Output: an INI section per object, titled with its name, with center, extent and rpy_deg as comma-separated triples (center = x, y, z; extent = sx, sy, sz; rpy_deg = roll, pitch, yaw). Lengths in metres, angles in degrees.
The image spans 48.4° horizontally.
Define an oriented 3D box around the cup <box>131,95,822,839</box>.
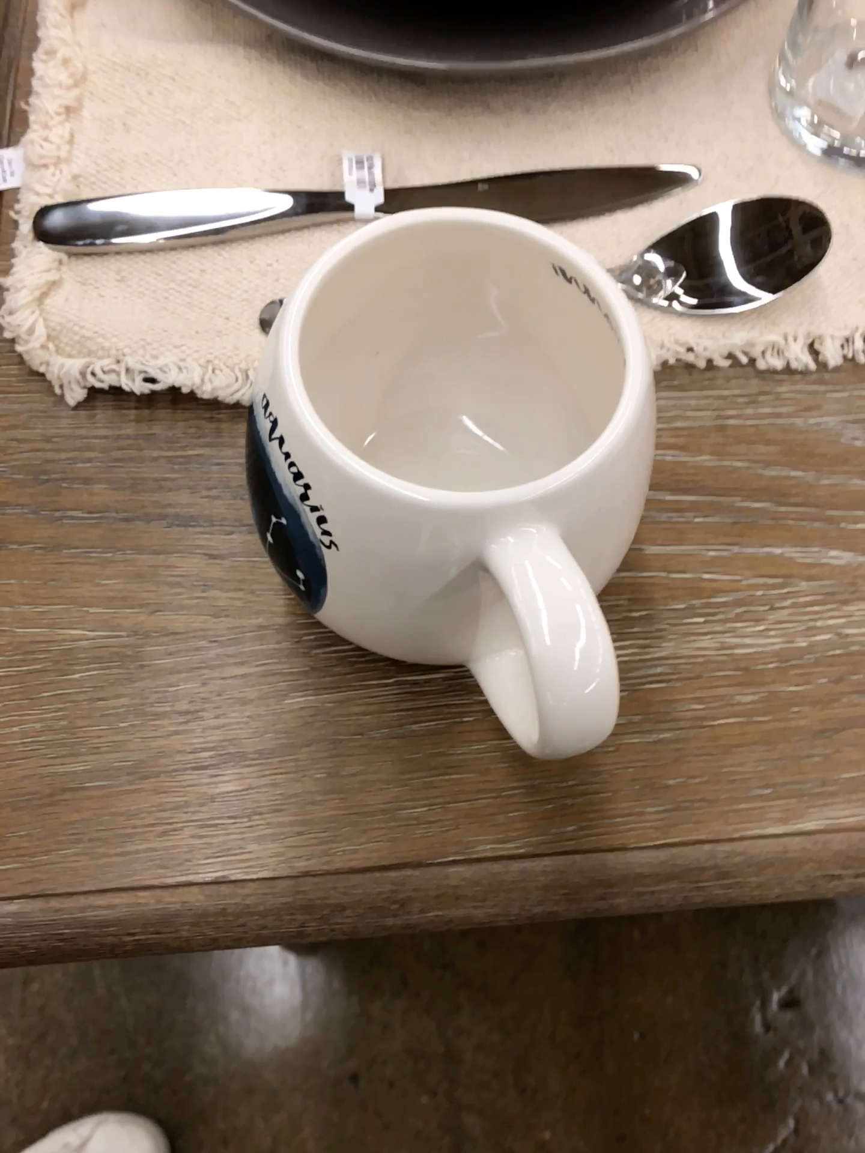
[cup]
center = 0.002, -0.024, 0.230
extent = 0.082, 0.081, 0.134
rpy_deg = -26, 70, -13
